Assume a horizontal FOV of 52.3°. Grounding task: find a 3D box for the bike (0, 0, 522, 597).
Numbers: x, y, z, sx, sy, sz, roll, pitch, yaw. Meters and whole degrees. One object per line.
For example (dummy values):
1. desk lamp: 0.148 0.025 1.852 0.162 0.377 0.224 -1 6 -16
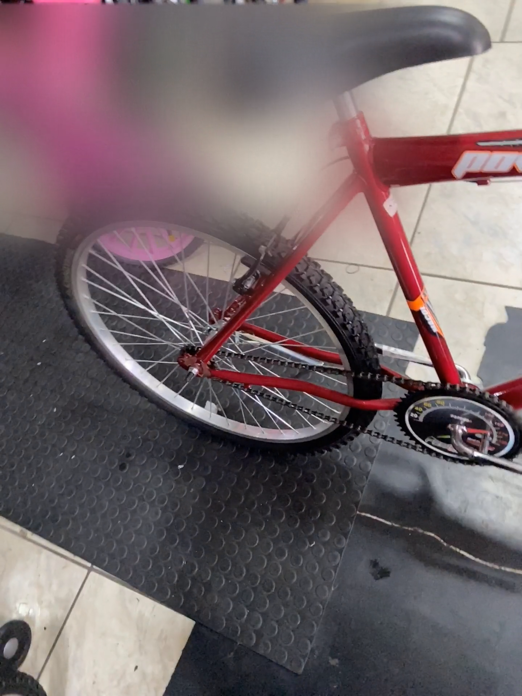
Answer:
1. bike: 0.270 -0.197 0.674 1.583 1.030 0.567 2 61 22
